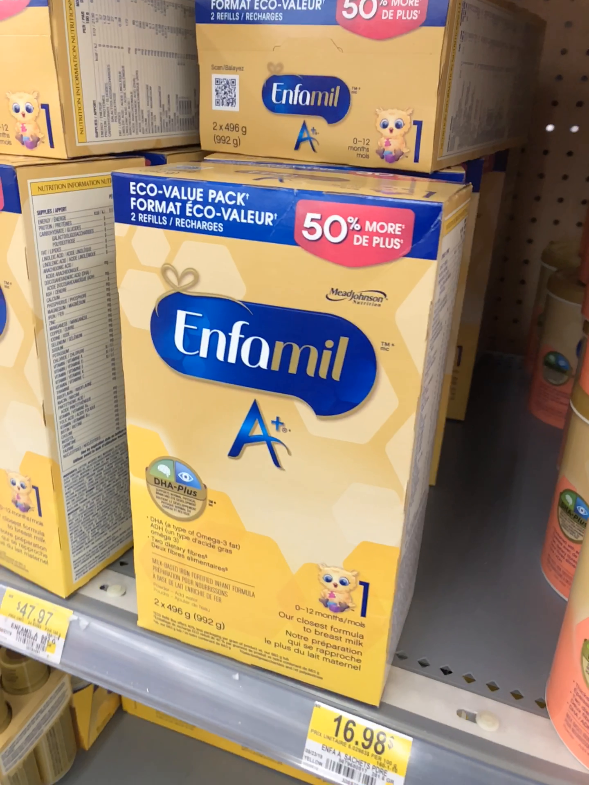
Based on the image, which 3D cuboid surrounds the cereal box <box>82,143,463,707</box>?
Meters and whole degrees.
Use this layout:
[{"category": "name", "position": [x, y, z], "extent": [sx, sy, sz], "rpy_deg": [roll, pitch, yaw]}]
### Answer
[{"category": "cereal box", "position": [-0.012, 0.014, 0.340], "extent": [0.150, 0.258, 0.080], "rpy_deg": [11, 24, 18]}]
